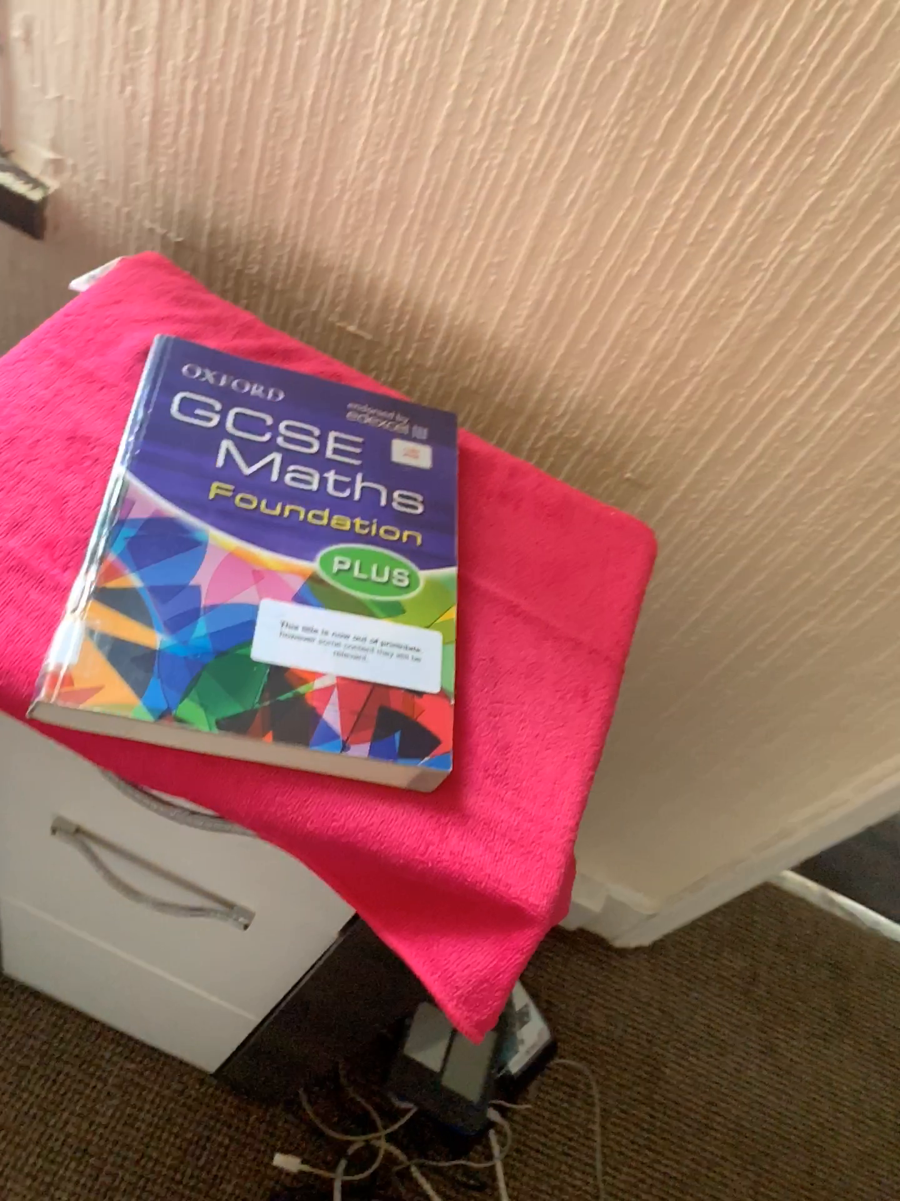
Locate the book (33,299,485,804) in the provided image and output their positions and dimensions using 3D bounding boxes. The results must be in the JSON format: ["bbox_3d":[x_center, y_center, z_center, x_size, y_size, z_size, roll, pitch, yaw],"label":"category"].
[{"bbox_3d":[-0.084,-0.040,0.524,0.210,0.030,0.282,14,52,-15],"label":"book"}]
